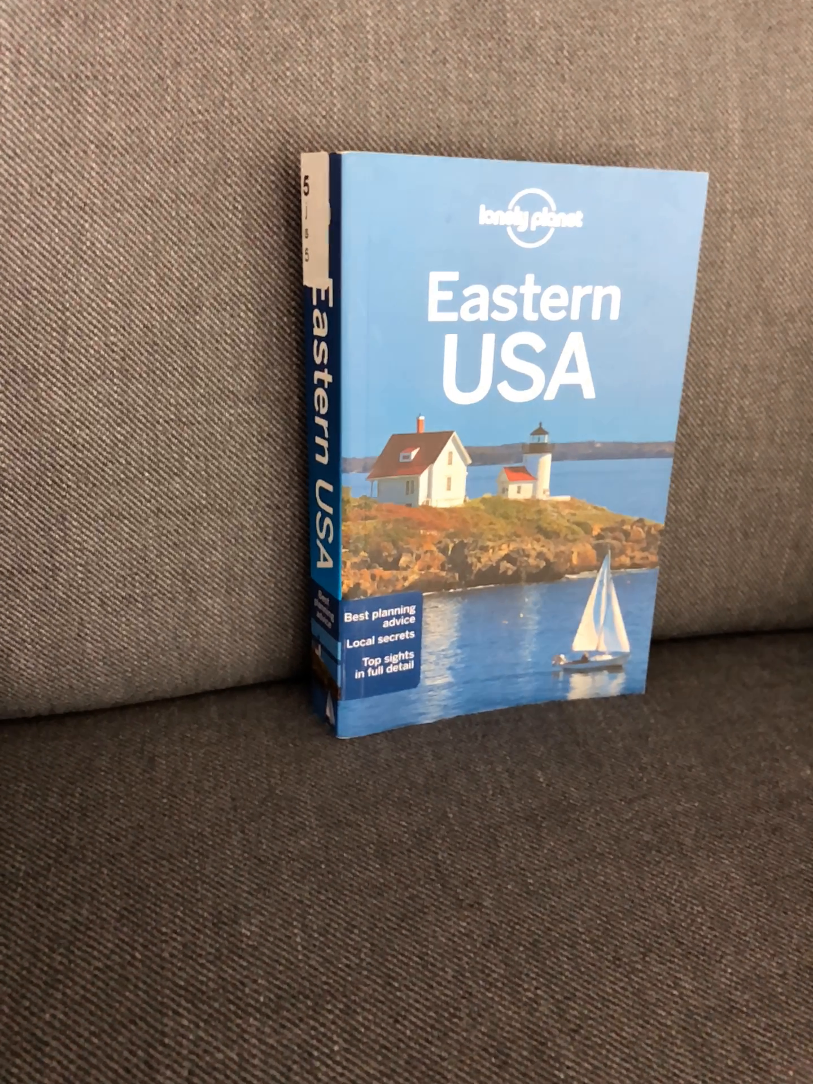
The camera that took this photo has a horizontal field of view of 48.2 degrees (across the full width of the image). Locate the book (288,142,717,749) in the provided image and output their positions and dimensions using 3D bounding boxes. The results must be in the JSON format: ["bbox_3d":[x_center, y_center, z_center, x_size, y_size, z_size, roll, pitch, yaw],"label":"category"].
[{"bbox_3d":[0.029,-0.031,0.329,0.134,0.200,0.039,-4,20,-16],"label":"book"}]
